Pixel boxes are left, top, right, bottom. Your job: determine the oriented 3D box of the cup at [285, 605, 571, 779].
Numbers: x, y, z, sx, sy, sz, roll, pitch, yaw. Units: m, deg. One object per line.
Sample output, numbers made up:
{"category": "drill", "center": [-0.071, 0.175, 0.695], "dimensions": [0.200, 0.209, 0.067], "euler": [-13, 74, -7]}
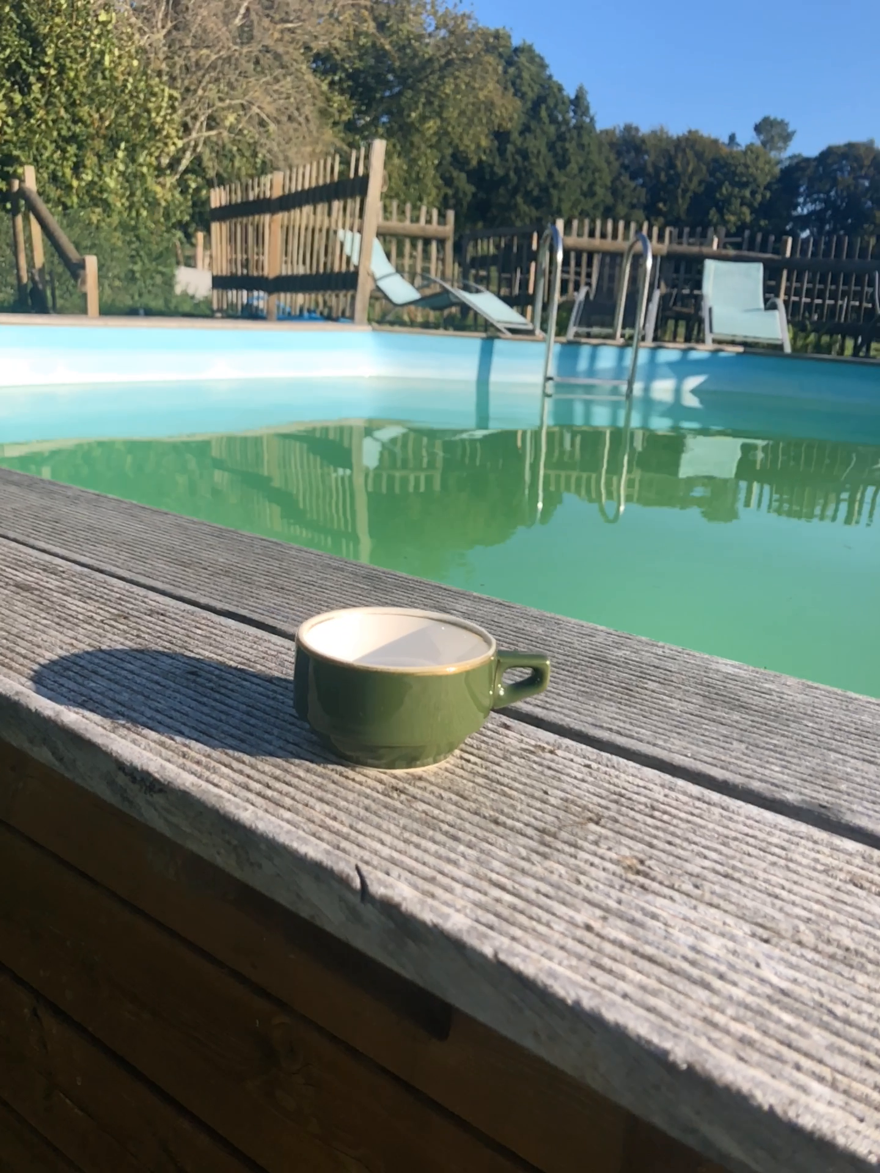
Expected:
{"category": "cup", "center": [-0.010, 0.037, 0.374], "dimensions": [0.095, 0.038, 0.083], "euler": [0, 14, -12]}
